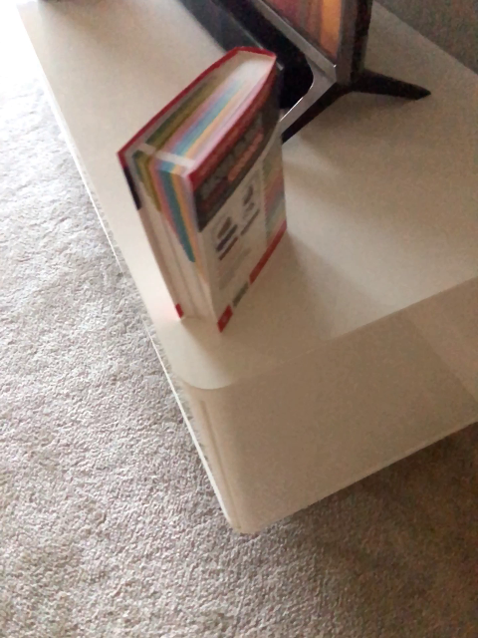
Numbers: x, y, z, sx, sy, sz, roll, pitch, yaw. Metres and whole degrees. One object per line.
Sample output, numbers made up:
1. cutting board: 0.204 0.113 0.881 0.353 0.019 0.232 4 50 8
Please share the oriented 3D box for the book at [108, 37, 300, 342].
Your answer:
1. book: -0.013 -0.098 0.430 0.060 0.179 0.150 23 59 20
